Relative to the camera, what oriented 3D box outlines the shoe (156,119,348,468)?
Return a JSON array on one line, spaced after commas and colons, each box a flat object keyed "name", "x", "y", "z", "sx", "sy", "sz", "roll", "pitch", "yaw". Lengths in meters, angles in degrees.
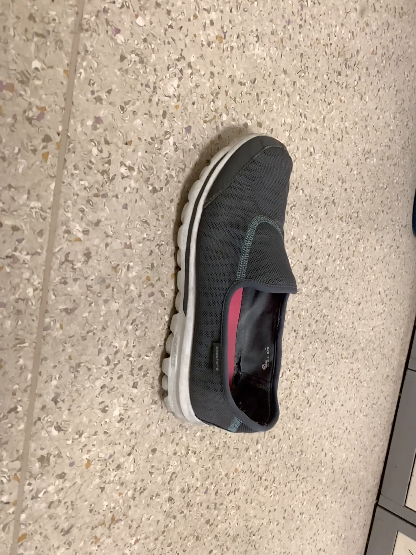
[{"name": "shoe", "x": 0.034, "y": 0.009, "z": 0.347, "sx": 0.103, "sy": 0.075, "sz": 0.239, "roll": -2, "pitch": 103, "yaw": -46}]
